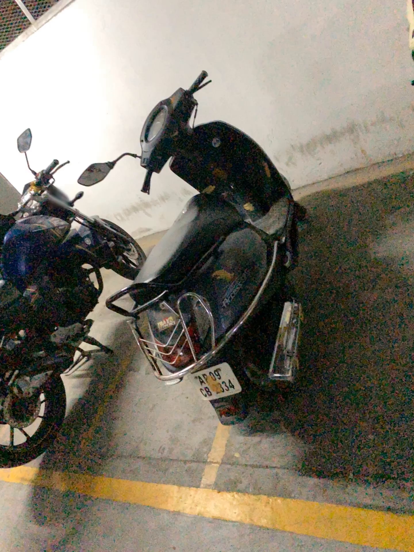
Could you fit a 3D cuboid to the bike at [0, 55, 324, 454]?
[{"bbox_3d":[0.018,-0.167,2.126,0.654,1.238,1.536,-19,33,26],"label":"bike"}]
